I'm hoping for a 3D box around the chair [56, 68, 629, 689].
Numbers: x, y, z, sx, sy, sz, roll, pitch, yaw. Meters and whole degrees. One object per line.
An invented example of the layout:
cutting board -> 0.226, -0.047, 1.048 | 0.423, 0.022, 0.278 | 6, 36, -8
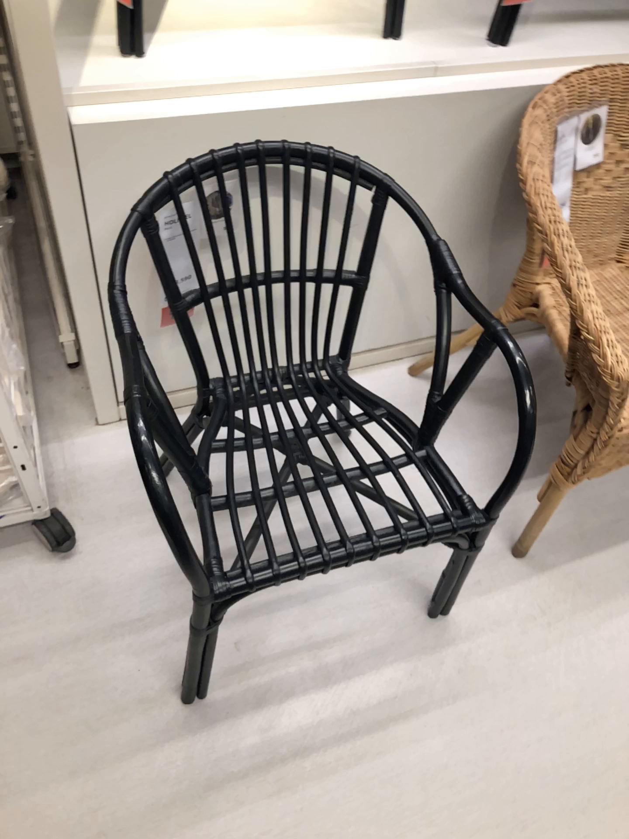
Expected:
chair -> -0.005, -0.018, 1.040 | 0.551, 0.756, 0.472 | -12, 57, -17
